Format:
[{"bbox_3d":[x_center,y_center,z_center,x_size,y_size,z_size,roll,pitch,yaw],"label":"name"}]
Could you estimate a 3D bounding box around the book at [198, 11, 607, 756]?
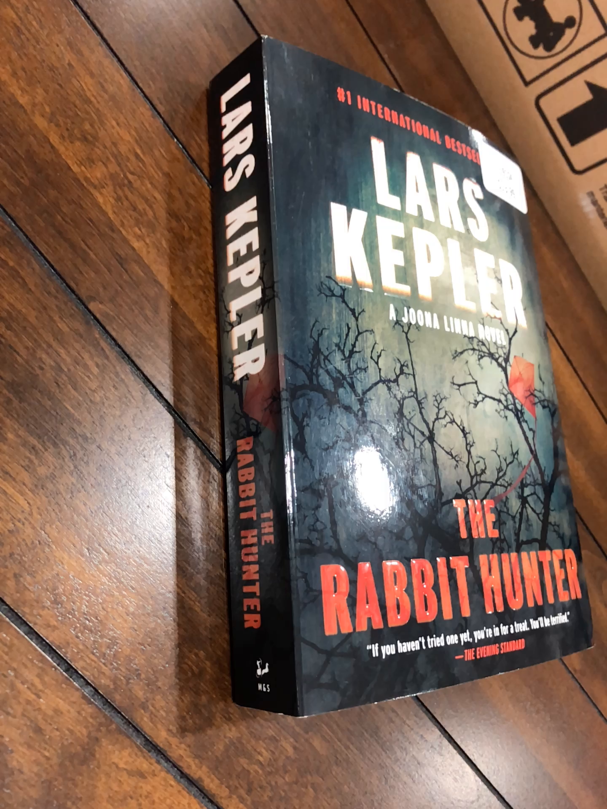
[{"bbox_3d":[0.044,-0.007,0.262,0.160,0.046,0.222,7,73,-39],"label":"book"}]
